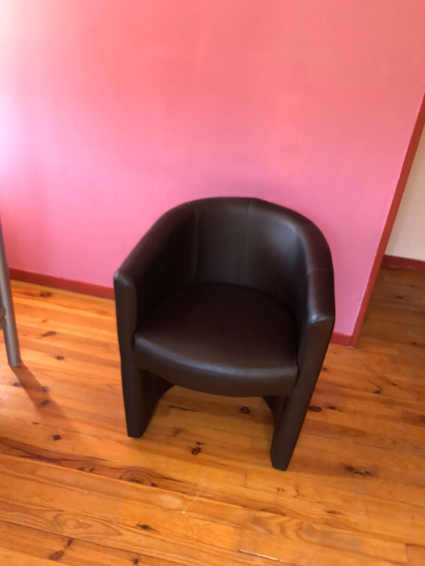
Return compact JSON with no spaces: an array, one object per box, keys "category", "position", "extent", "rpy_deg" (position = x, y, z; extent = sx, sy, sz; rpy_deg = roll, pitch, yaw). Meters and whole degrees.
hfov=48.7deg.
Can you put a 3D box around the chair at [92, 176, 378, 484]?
[{"category":"chair","position":[0.067,0.113,1.500],"extent":[0.670,0.646,0.594],"rpy_deg":[10,32,6]}]
